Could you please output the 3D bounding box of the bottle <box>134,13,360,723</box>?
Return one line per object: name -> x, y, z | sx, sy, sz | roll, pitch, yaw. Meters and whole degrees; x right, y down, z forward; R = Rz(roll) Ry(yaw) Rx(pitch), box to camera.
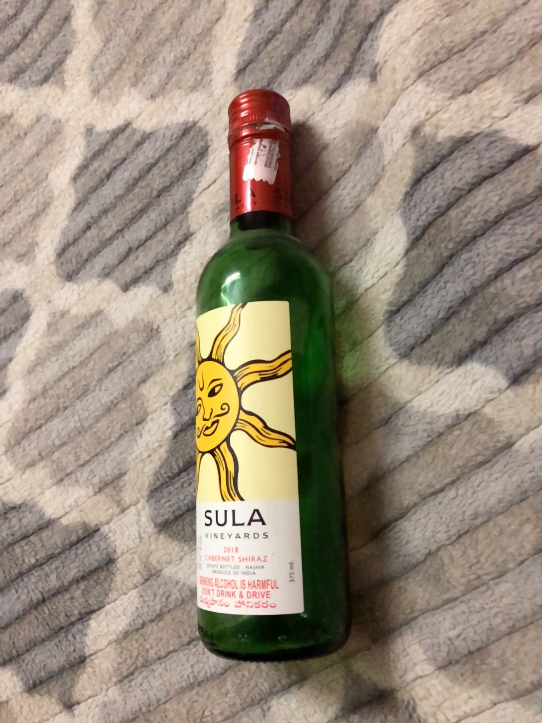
bottle -> -0.012, -0.002, 0.228 | 0.060, 0.050, 0.230 | -8, 79, 32
